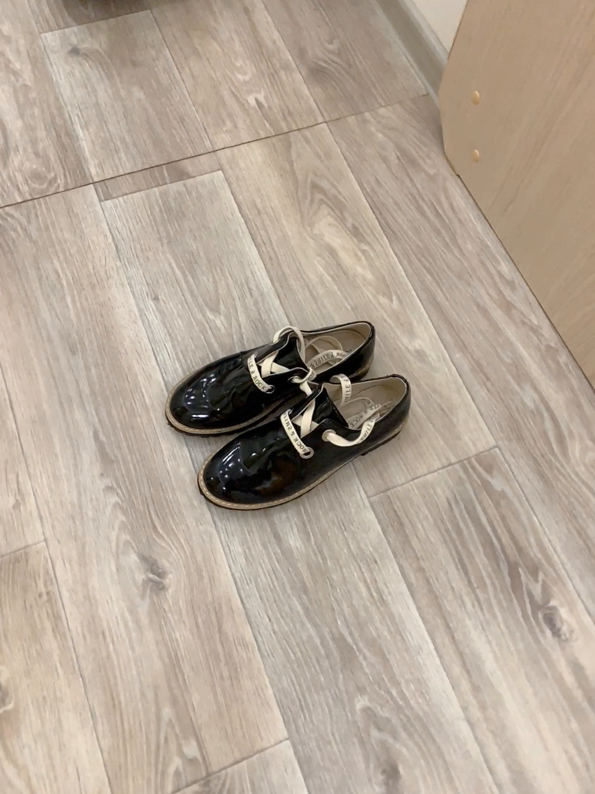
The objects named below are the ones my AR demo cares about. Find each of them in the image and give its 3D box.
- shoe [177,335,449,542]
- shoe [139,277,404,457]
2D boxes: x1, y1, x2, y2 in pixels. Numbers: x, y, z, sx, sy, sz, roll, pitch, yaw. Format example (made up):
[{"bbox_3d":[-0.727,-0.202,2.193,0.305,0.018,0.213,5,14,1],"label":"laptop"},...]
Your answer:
[{"bbox_3d":[0.017,0.047,0.683,0.270,0.100,0.100,-25,72,-13],"label":"shoe"},{"bbox_3d":[-0.030,-0.035,0.709,0.270,0.100,0.100,-19,71,-11],"label":"shoe"}]
